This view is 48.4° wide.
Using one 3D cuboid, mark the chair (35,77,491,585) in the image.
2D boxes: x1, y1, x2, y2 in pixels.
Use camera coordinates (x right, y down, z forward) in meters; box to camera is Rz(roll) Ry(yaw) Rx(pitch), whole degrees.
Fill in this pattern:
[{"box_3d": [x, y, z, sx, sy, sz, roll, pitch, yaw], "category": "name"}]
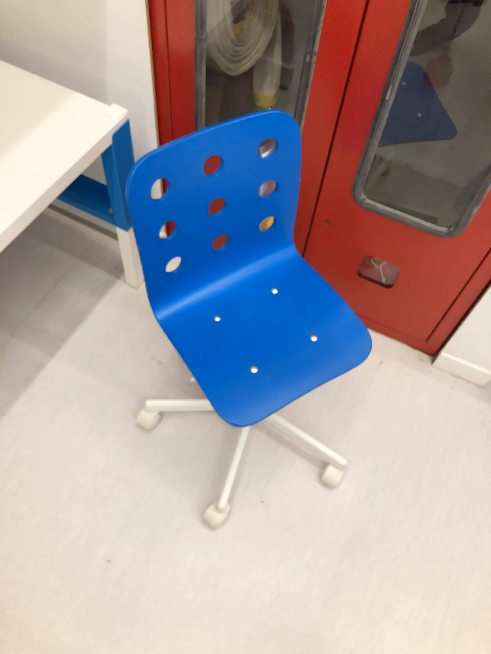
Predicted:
[{"box_3d": [0.054, 0.030, 1.061, 0.571, 0.627, 0.562, -27, 64, -20], "category": "chair"}]
